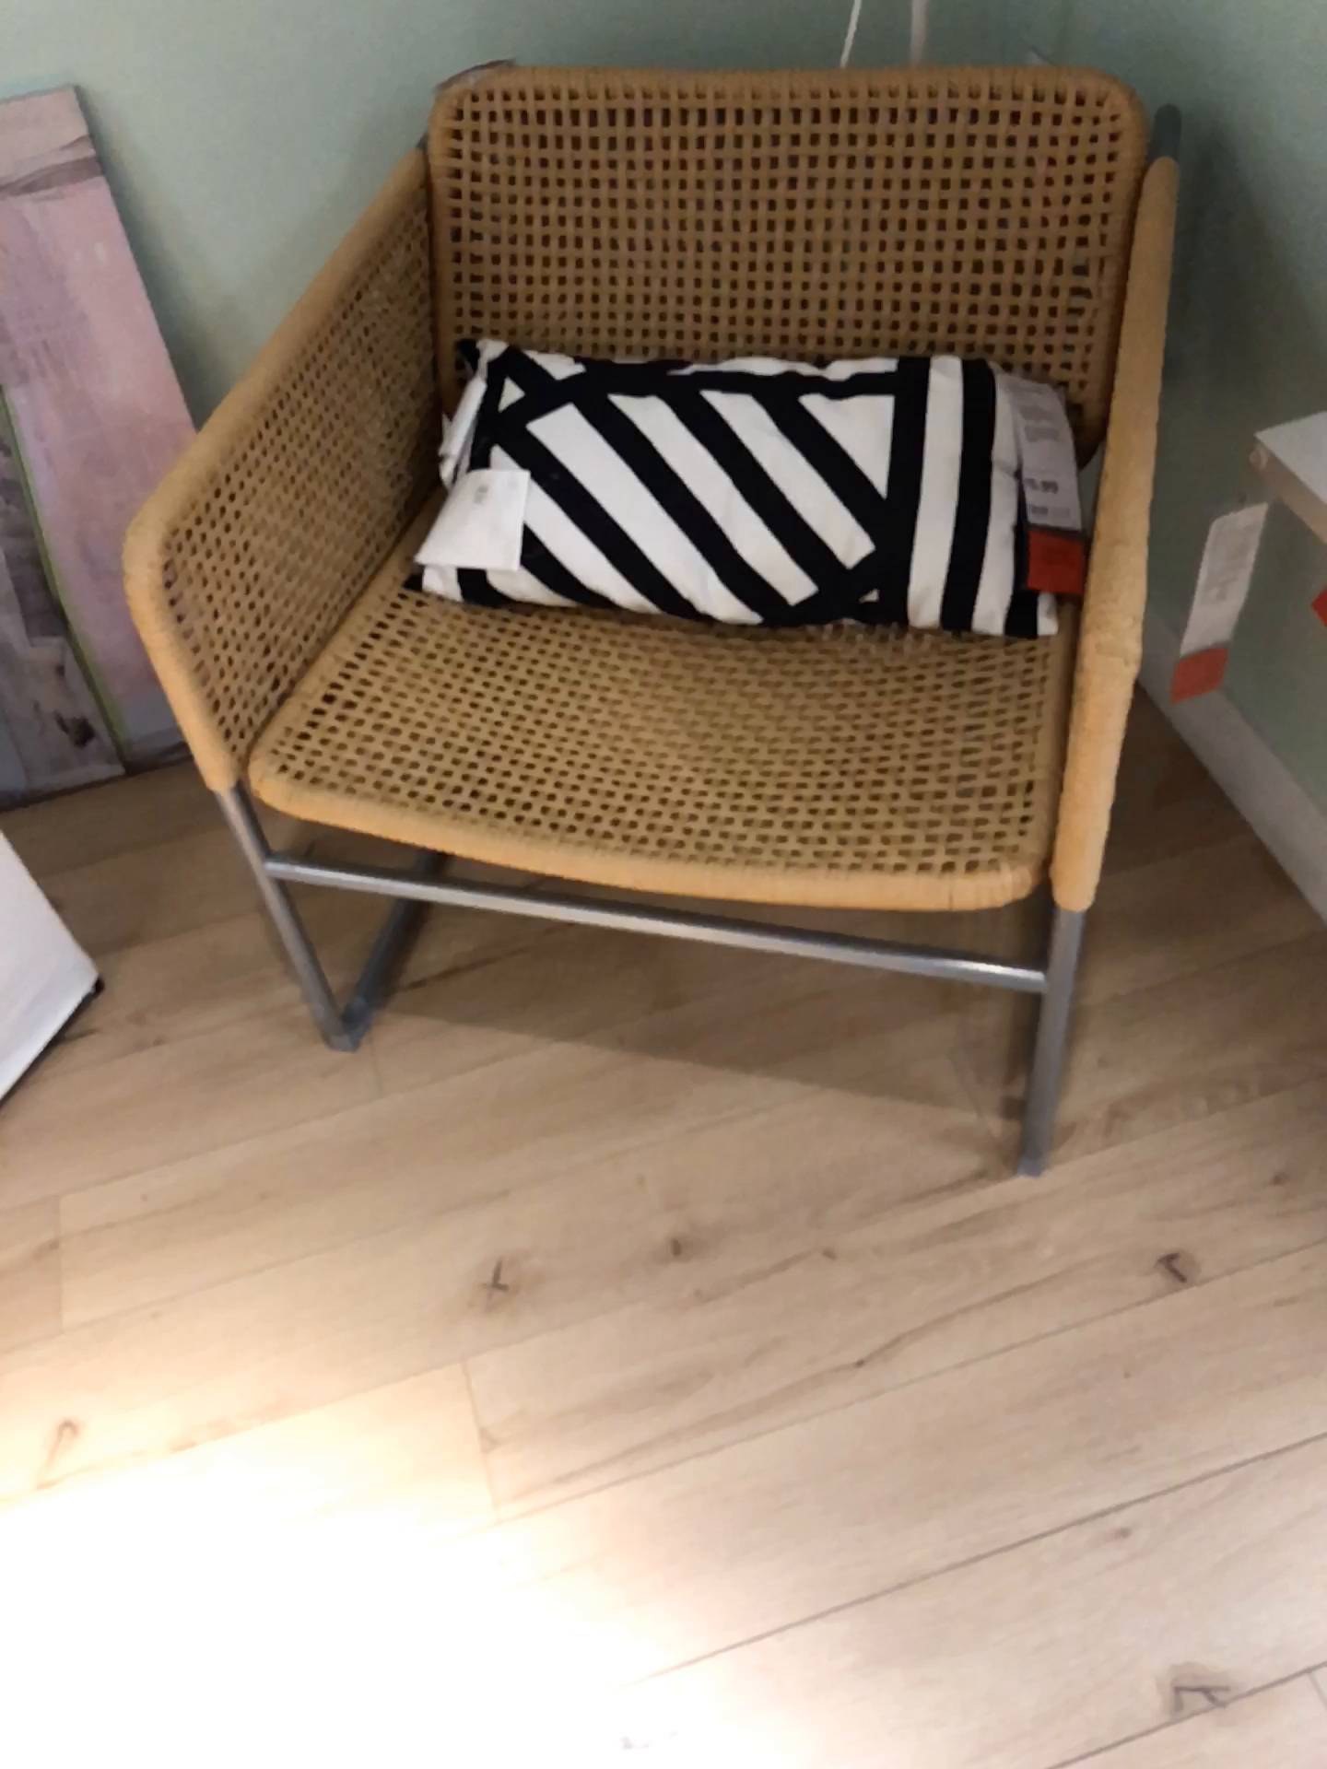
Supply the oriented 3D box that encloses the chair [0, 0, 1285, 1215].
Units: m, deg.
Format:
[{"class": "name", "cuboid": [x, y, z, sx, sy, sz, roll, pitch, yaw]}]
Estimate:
[{"class": "chair", "cuboid": [0.042, -0.270, 1.270, 0.790, 0.628, 0.752, 8, 51, 14]}]
